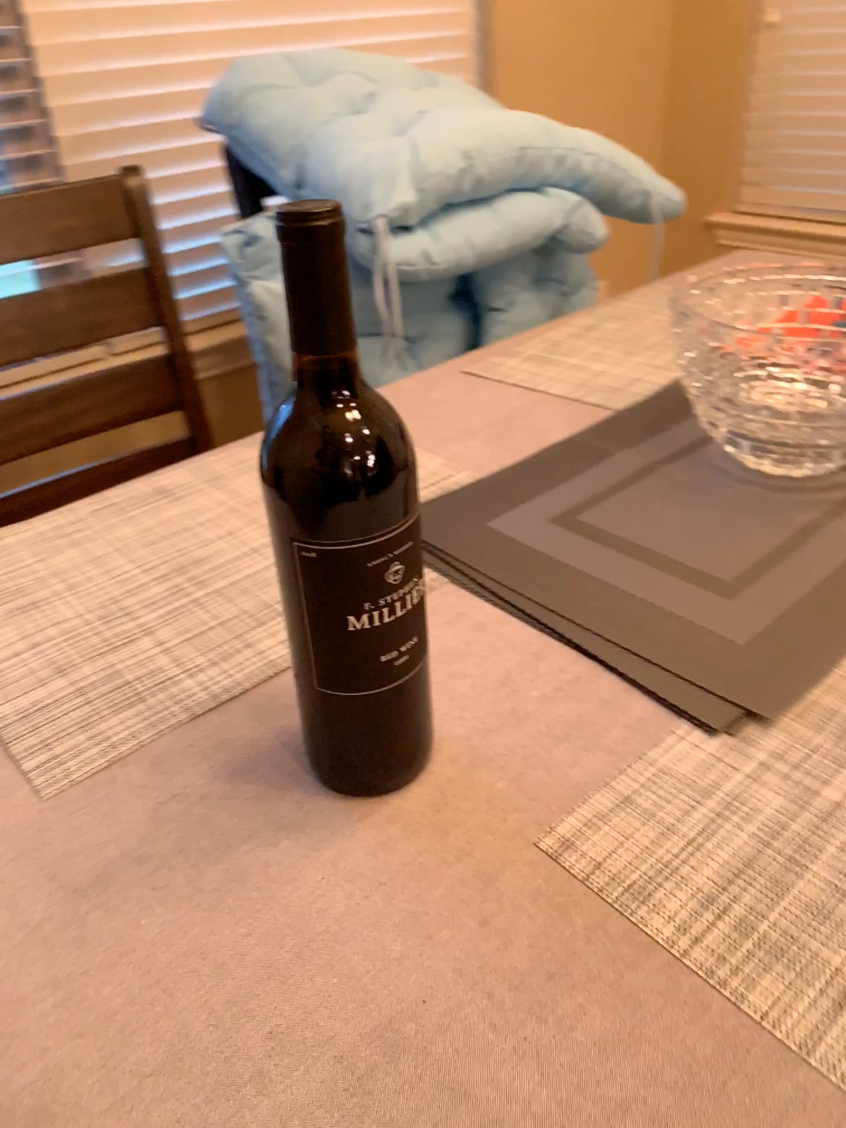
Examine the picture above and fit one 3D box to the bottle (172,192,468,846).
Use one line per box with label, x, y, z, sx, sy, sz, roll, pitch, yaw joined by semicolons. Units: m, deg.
bottle;-0.039;-0.010;0.441;0.080;0.314;0.080;-3;32;2
